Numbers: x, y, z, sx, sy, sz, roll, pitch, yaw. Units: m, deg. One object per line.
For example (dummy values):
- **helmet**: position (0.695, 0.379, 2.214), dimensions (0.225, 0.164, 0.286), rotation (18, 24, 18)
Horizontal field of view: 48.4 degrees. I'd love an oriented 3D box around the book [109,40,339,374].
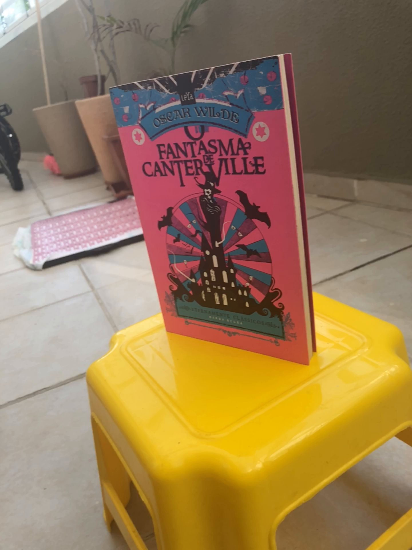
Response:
- **book**: position (0.014, -0.039, 0.343), dimensions (0.150, 0.219, 0.020), rotation (6, 28, 37)
